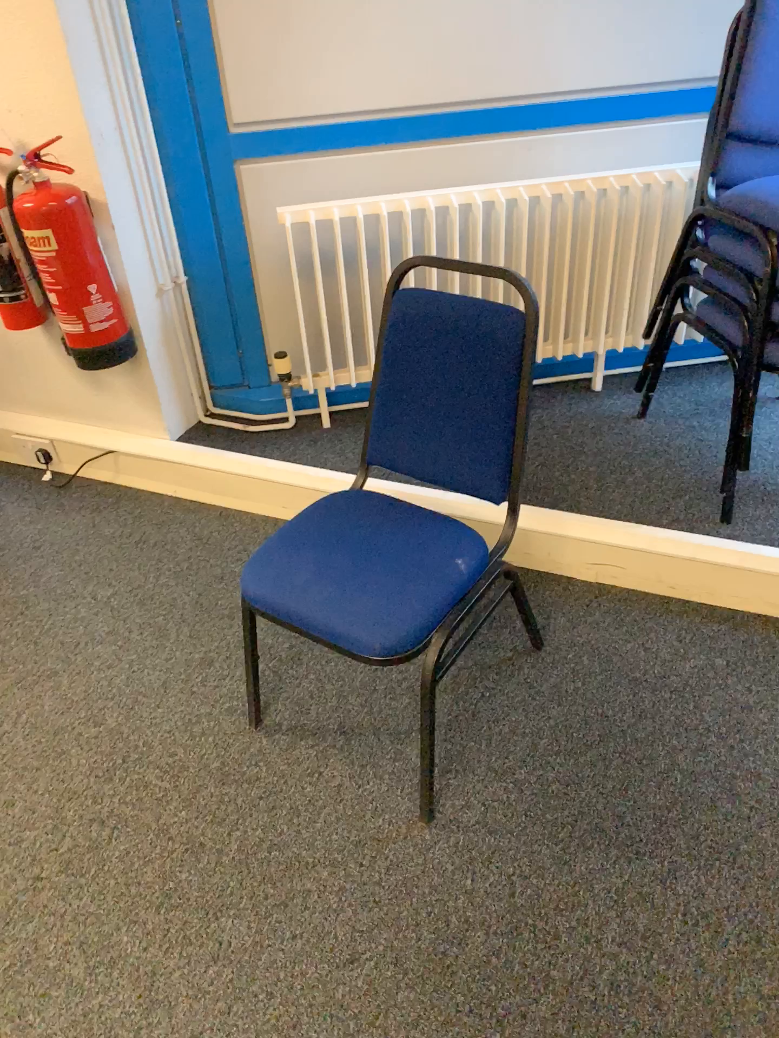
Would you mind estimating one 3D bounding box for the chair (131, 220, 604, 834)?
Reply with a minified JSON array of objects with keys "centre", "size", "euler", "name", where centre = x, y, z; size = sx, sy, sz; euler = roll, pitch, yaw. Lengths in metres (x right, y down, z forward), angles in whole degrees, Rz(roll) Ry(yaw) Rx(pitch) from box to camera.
[{"centre":[0.014,-0.003,1.448],"size":[0.474,0.842,0.578],"euler":[19,43,28],"name":"chair"}]
